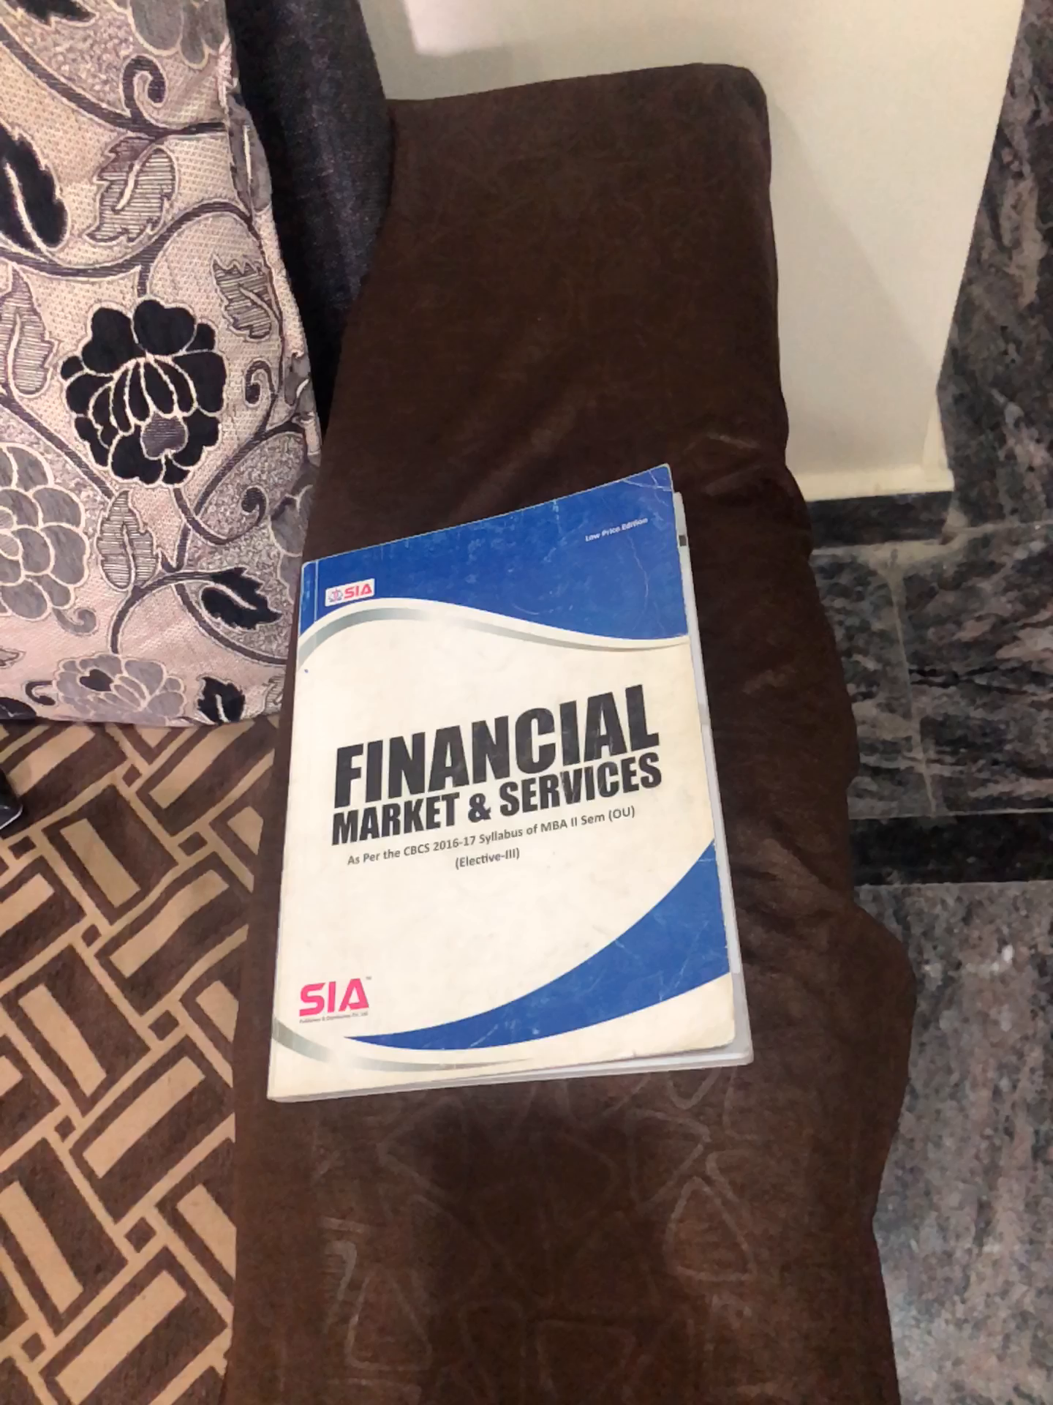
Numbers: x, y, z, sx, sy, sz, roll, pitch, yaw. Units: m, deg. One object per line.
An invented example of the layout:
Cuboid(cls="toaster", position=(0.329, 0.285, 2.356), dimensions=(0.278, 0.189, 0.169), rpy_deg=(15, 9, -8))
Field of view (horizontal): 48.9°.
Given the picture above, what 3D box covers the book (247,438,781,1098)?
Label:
Cuboid(cls="book", position=(-0.015, 0.020, 0.558), dimensions=(0.220, 0.040, 0.300), rpy_deg=(-8, 61, 7))
